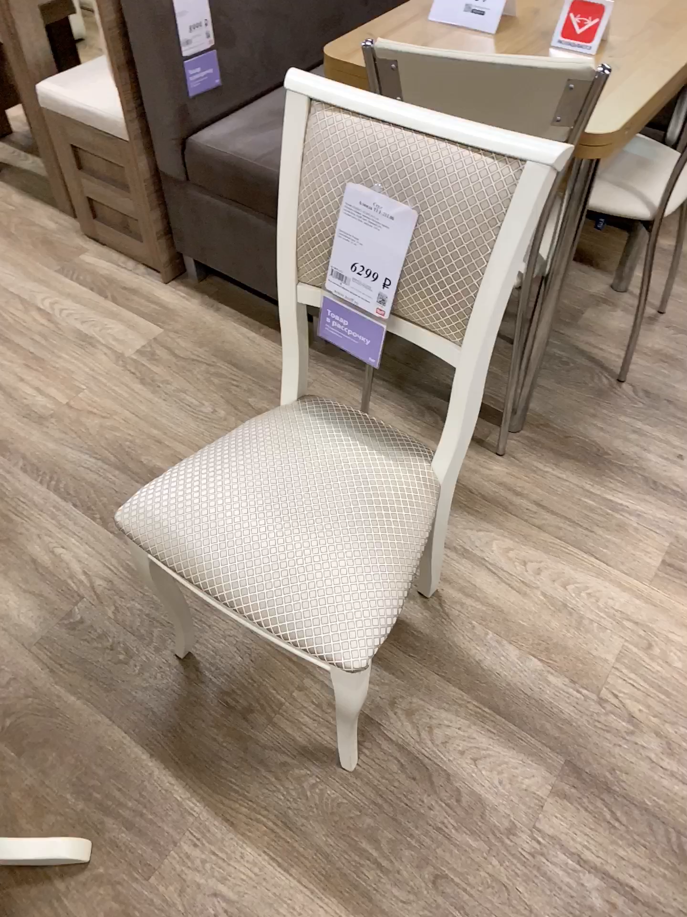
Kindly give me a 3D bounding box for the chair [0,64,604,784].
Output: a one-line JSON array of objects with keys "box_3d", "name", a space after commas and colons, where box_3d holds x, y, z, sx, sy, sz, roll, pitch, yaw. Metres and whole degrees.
[{"box_3d": [-0.032, 0.014, 1.104, 0.460, 0.926, 0.512, 26, 54, 20], "name": "chair"}]
